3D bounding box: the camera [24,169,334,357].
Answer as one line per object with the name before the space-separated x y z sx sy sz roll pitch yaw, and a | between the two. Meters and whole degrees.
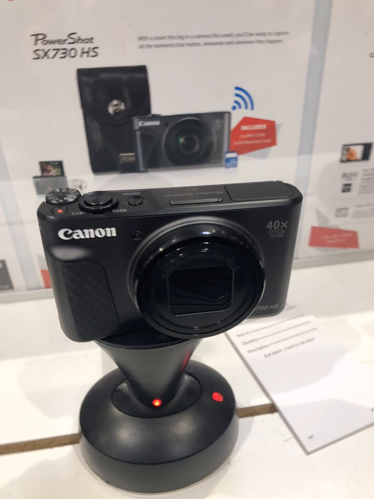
camera | -0.003 0.005 0.180 0.110 0.060 0.040 -5 33 -5
